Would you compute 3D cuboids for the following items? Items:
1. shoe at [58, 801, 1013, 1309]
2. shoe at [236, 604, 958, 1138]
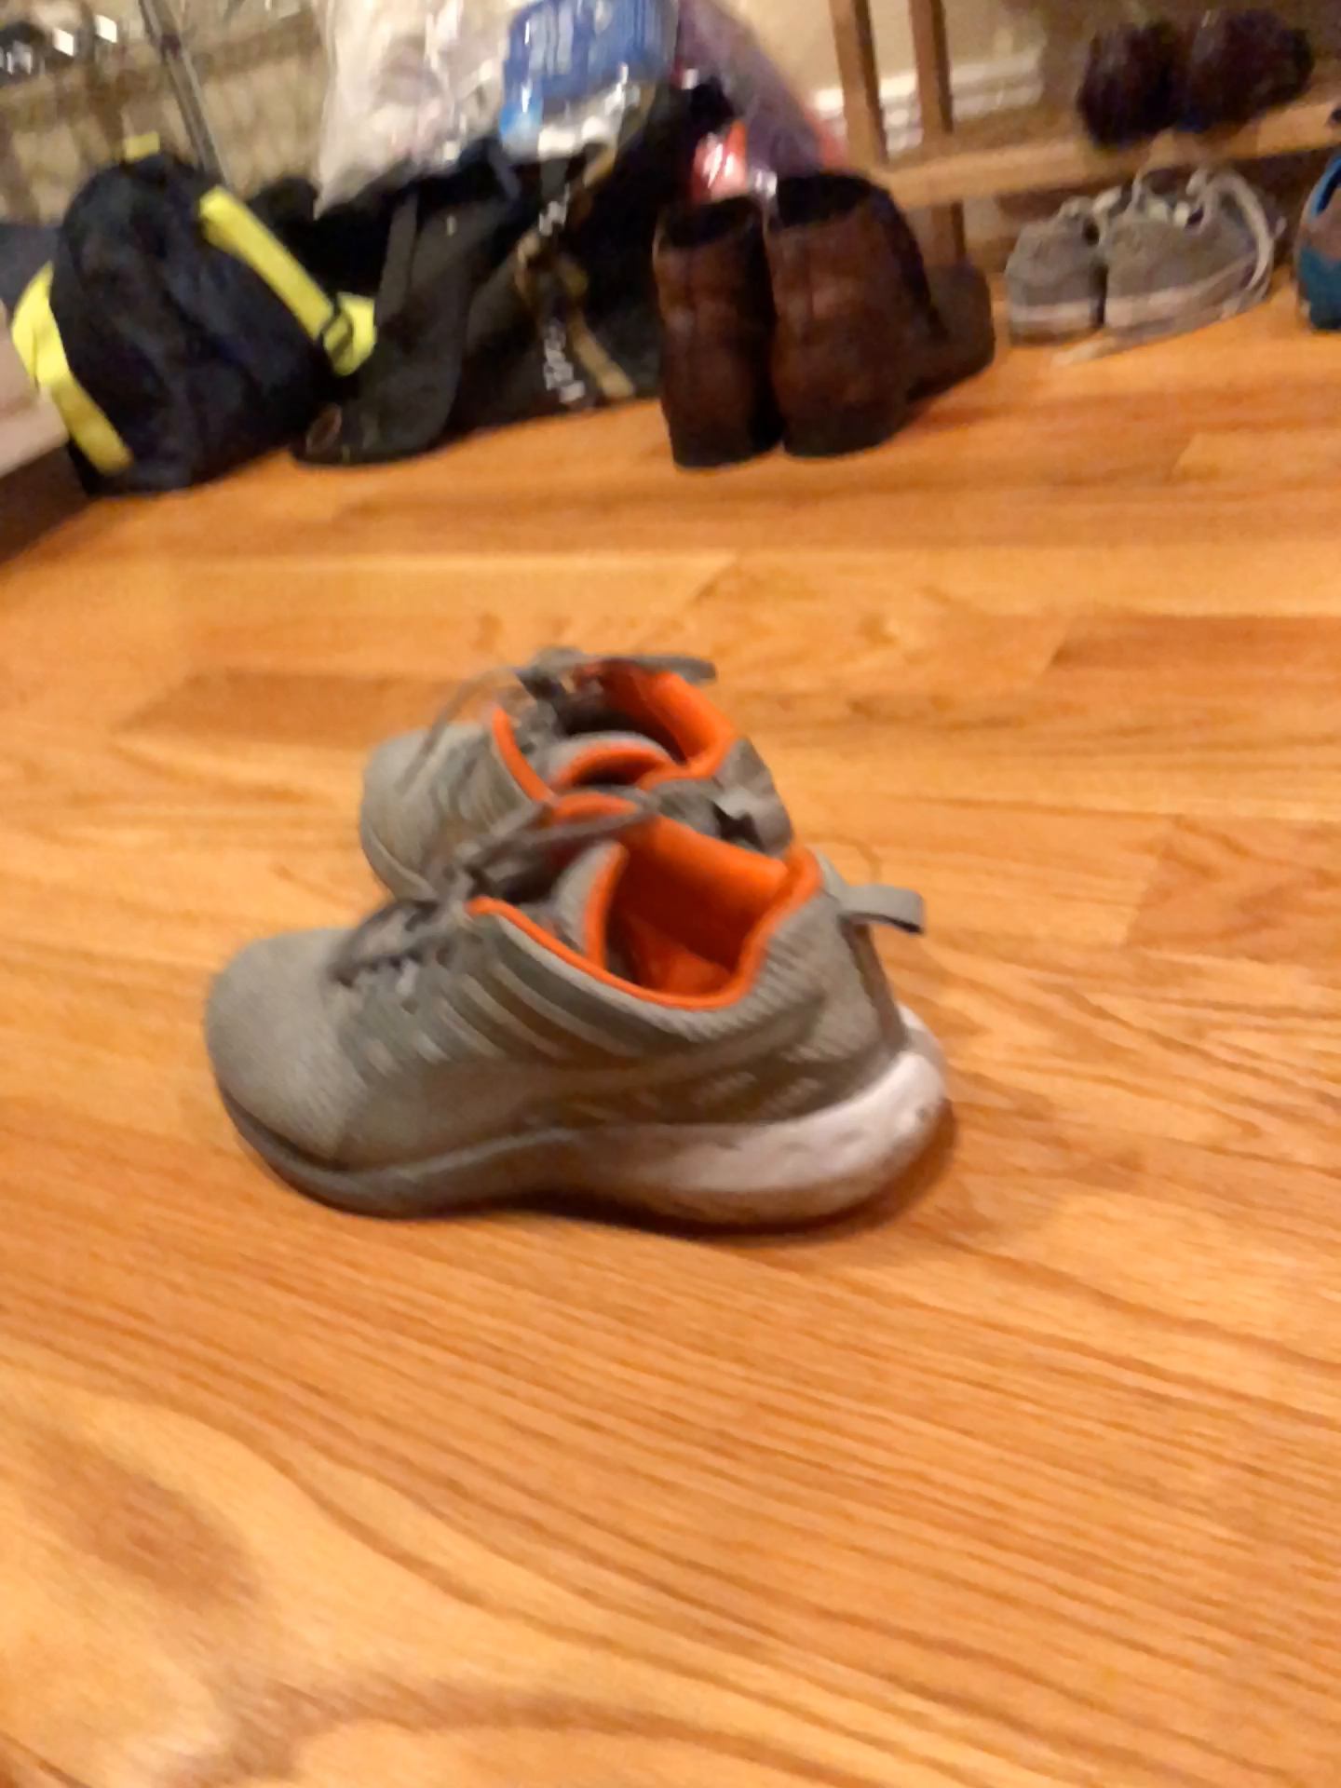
[{"bbox_3d":[-0.037,0.035,0.439,0.250,0.080,0.111,2,35,25],"label":"shoe"},{"bbox_3d":[-0.035,-0.024,0.530,0.251,0.099,0.100,19,45,42],"label":"shoe"}]
